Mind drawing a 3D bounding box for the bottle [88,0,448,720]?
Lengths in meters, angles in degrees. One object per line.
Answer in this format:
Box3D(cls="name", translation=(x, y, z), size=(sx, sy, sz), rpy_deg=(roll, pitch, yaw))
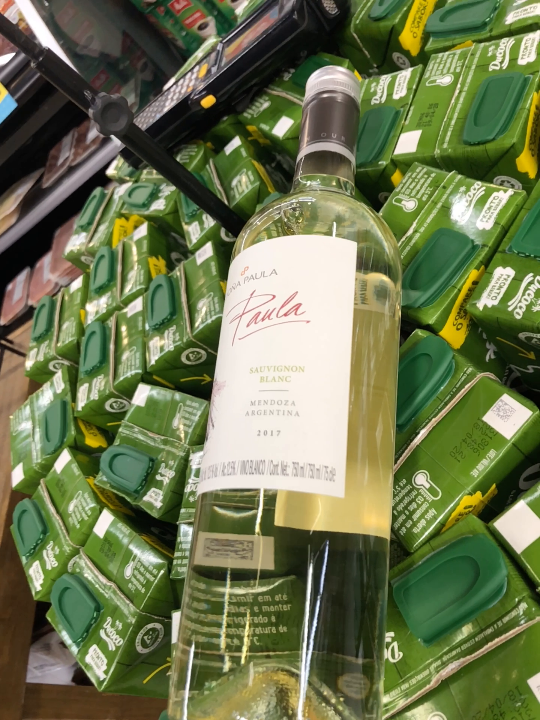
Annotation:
Box3D(cls="bottle", translation=(0.021, -0.033, 0.252), size=(0.080, 0.070, 0.331), rpy_deg=(-13, 56, 37))
